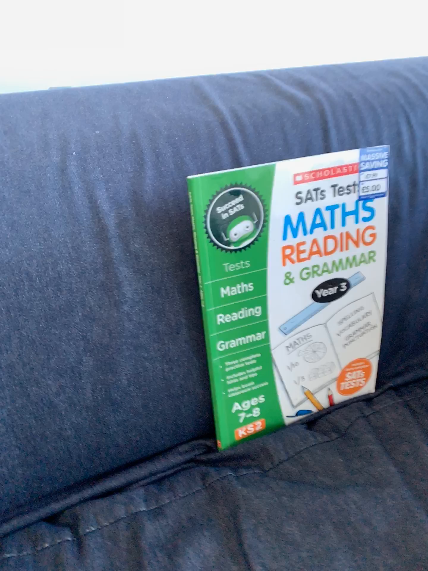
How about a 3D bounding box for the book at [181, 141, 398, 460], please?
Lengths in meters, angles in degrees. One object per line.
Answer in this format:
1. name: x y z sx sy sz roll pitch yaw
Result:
1. book: 0.085 0.020 0.444 0.209 0.293 0.022 -14 25 -19
